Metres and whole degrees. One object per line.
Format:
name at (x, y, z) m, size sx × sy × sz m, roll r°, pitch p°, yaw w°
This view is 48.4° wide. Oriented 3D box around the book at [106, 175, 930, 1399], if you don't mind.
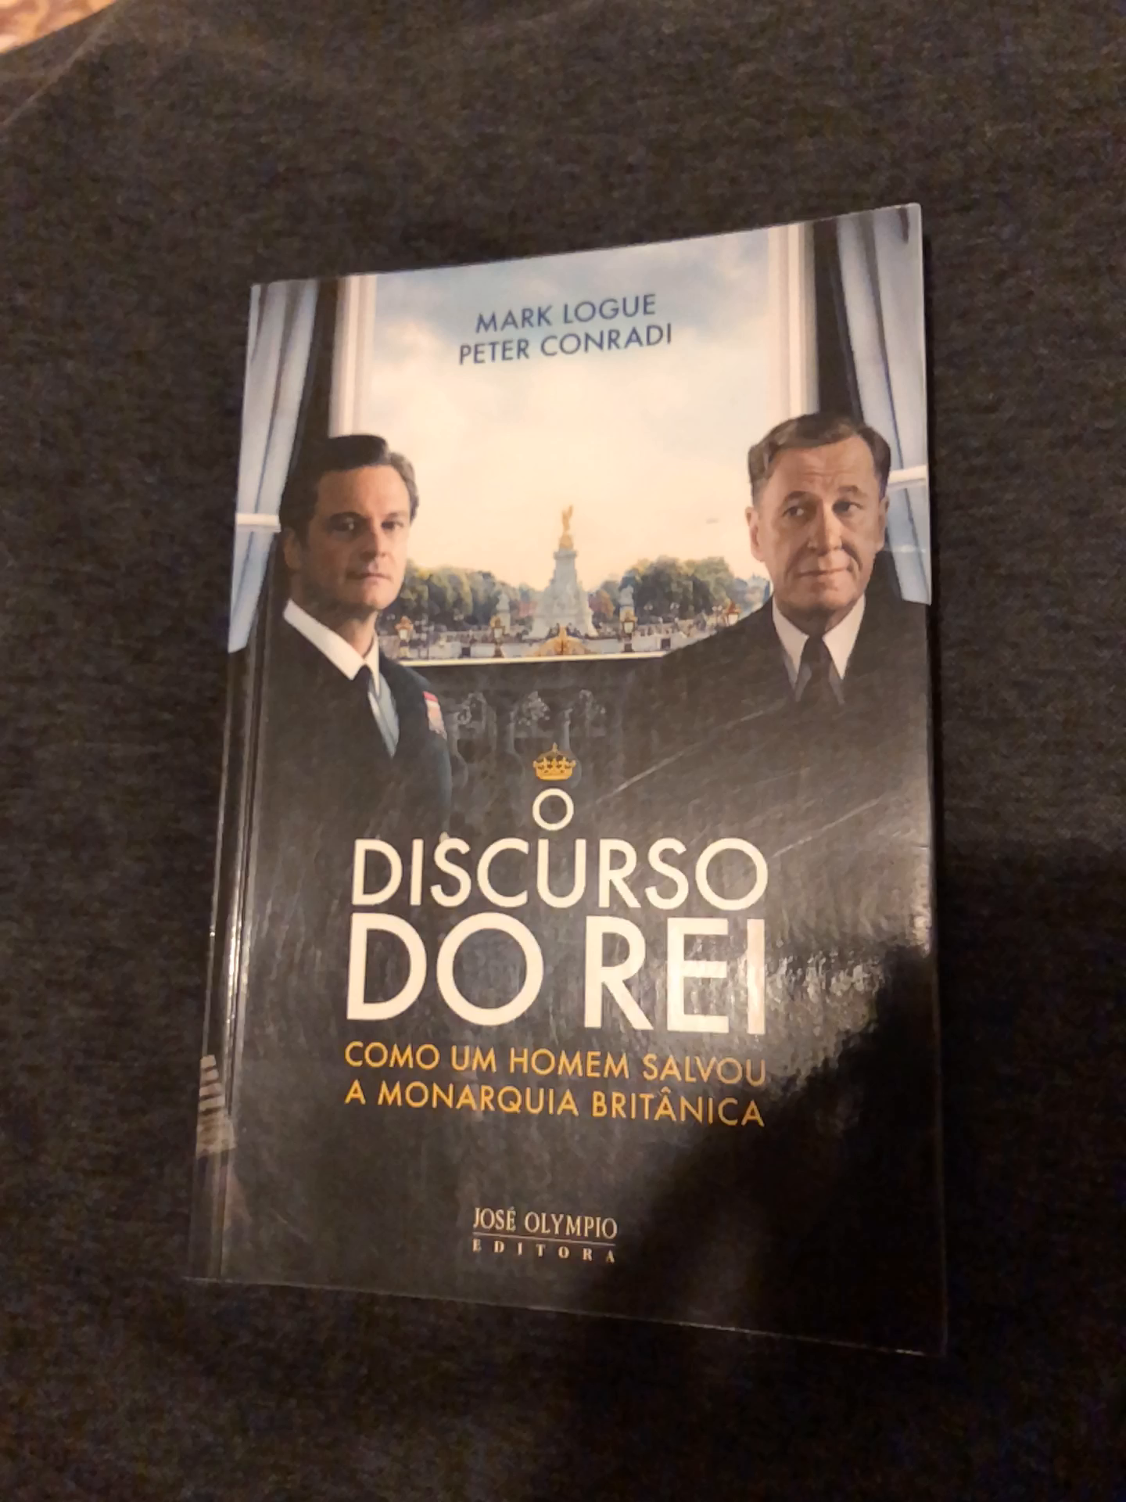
book at (-0.007, 0.000, 0.268) m, size 0.160 × 0.030 × 0.230 m, roll -1°, pitch 79°, yaw 15°
